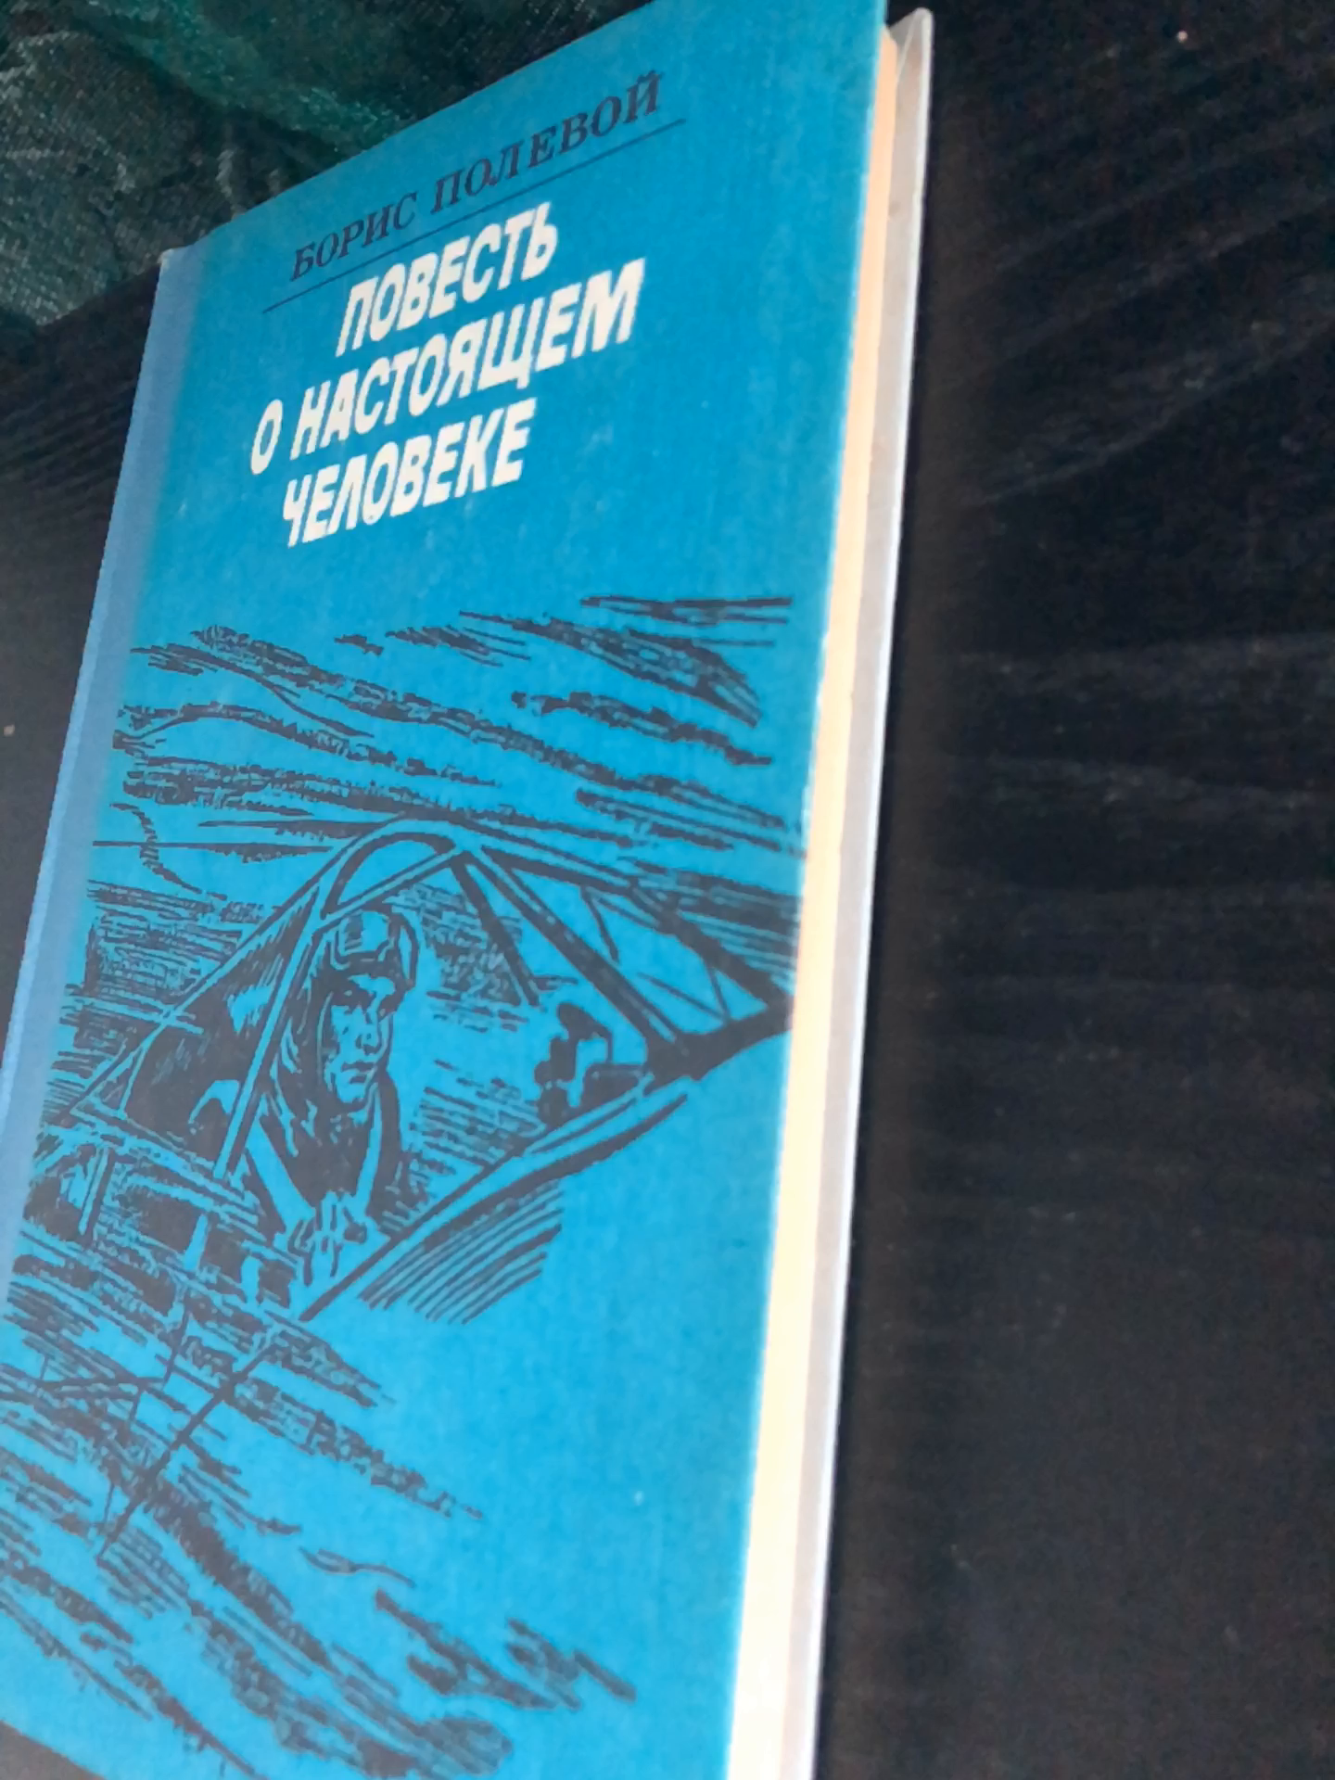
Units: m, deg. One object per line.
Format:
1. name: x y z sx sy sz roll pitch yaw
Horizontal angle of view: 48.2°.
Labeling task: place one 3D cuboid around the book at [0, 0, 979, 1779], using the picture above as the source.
1. book: -0.033 -0.004 0.165 0.123 0.019 0.190 -4 73 38
